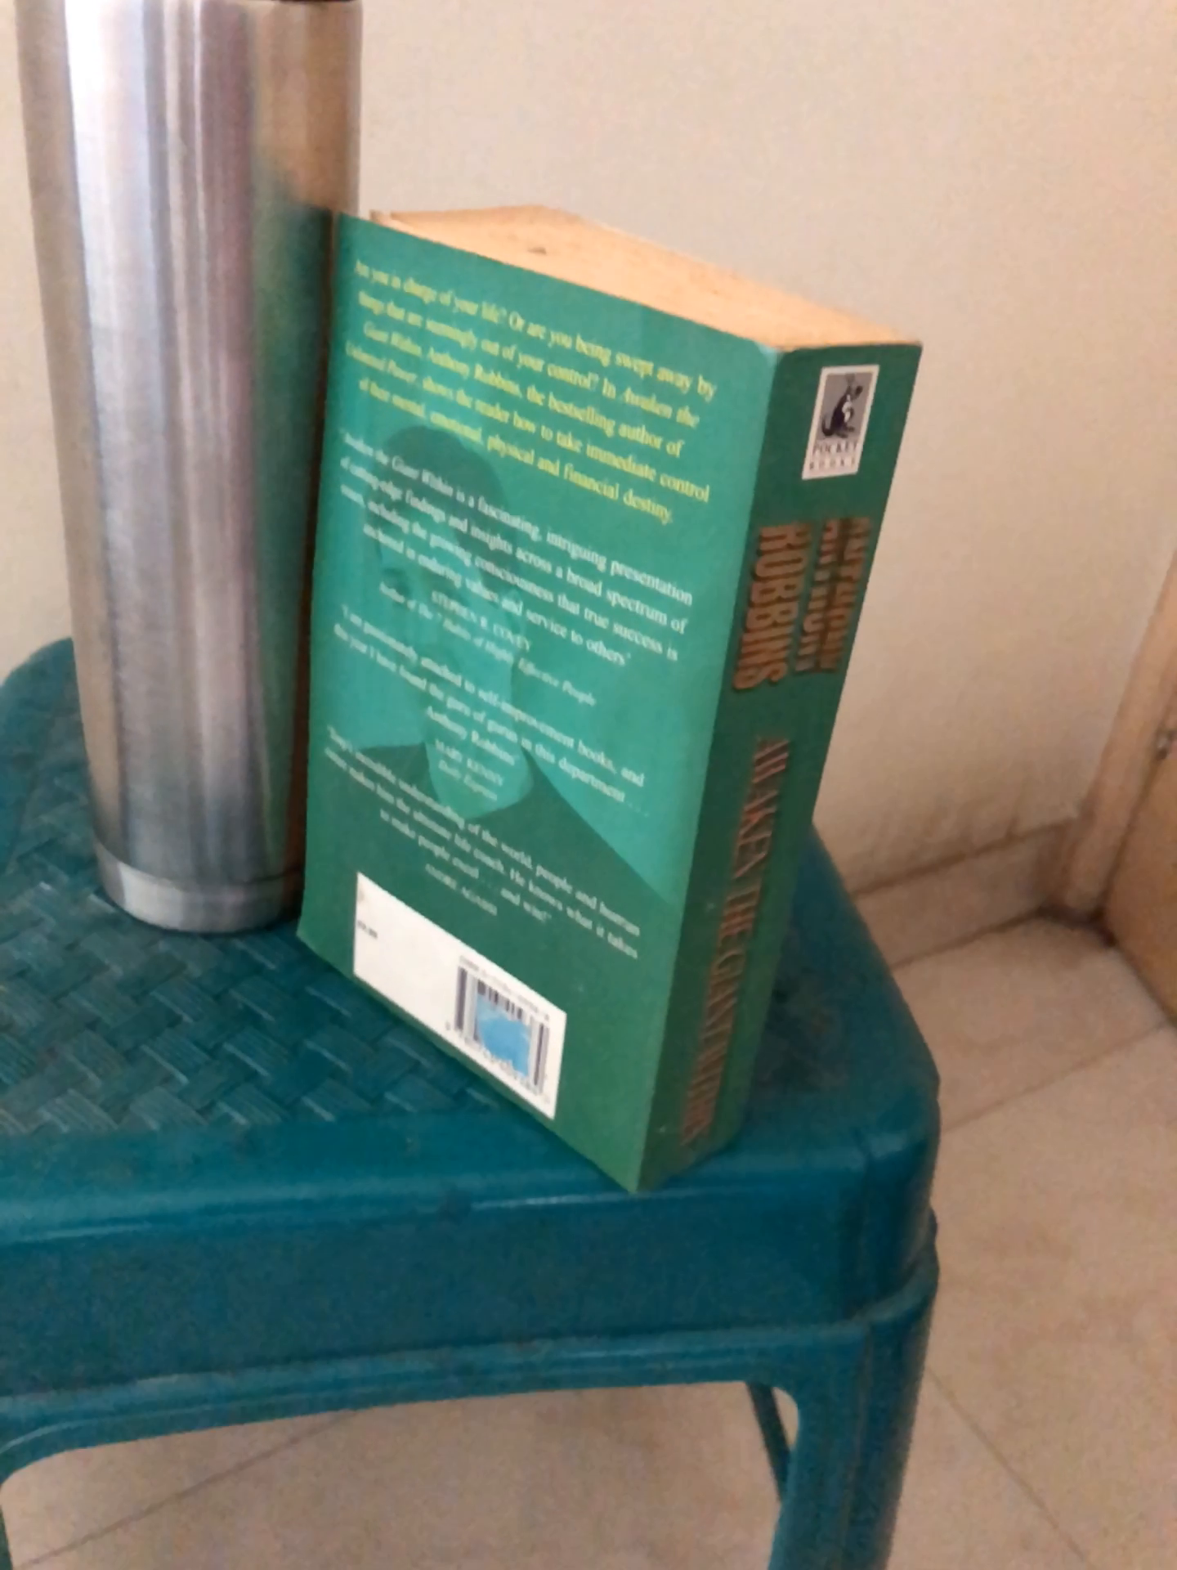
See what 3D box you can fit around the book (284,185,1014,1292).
[{"bbox_3d":[-0.007,-0.011,0.293,0.050,0.199,0.140,-22,43,-38],"label":"book"}]
